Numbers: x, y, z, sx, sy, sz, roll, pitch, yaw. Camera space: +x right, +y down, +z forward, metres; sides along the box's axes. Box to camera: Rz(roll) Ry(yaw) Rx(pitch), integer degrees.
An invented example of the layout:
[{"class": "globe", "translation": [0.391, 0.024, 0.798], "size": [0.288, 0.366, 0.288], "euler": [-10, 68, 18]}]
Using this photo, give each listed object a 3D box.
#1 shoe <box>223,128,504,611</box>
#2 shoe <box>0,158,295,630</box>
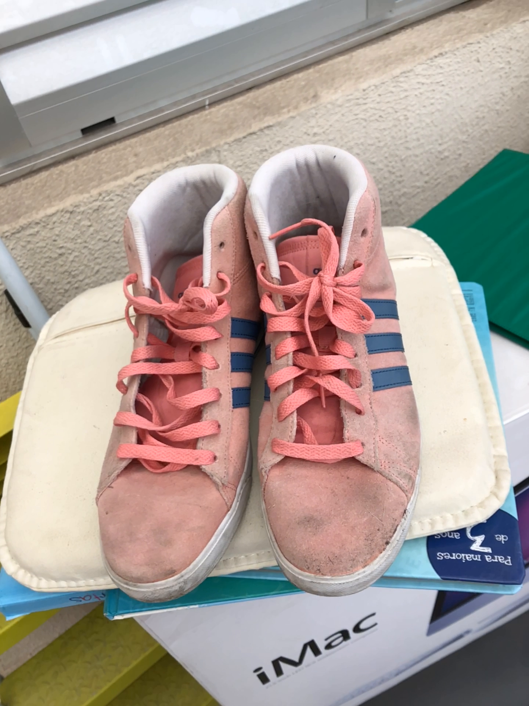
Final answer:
[{"class": "shoe", "translation": [0.044, -0.003, 0.341], "size": [0.100, 0.129, 0.251], "euler": [-4, 48, 6]}, {"class": "shoe", "translation": [-0.049, 0.009, 0.355], "size": [0.100, 0.129, 0.251], "euler": [1, 49, 10]}]
